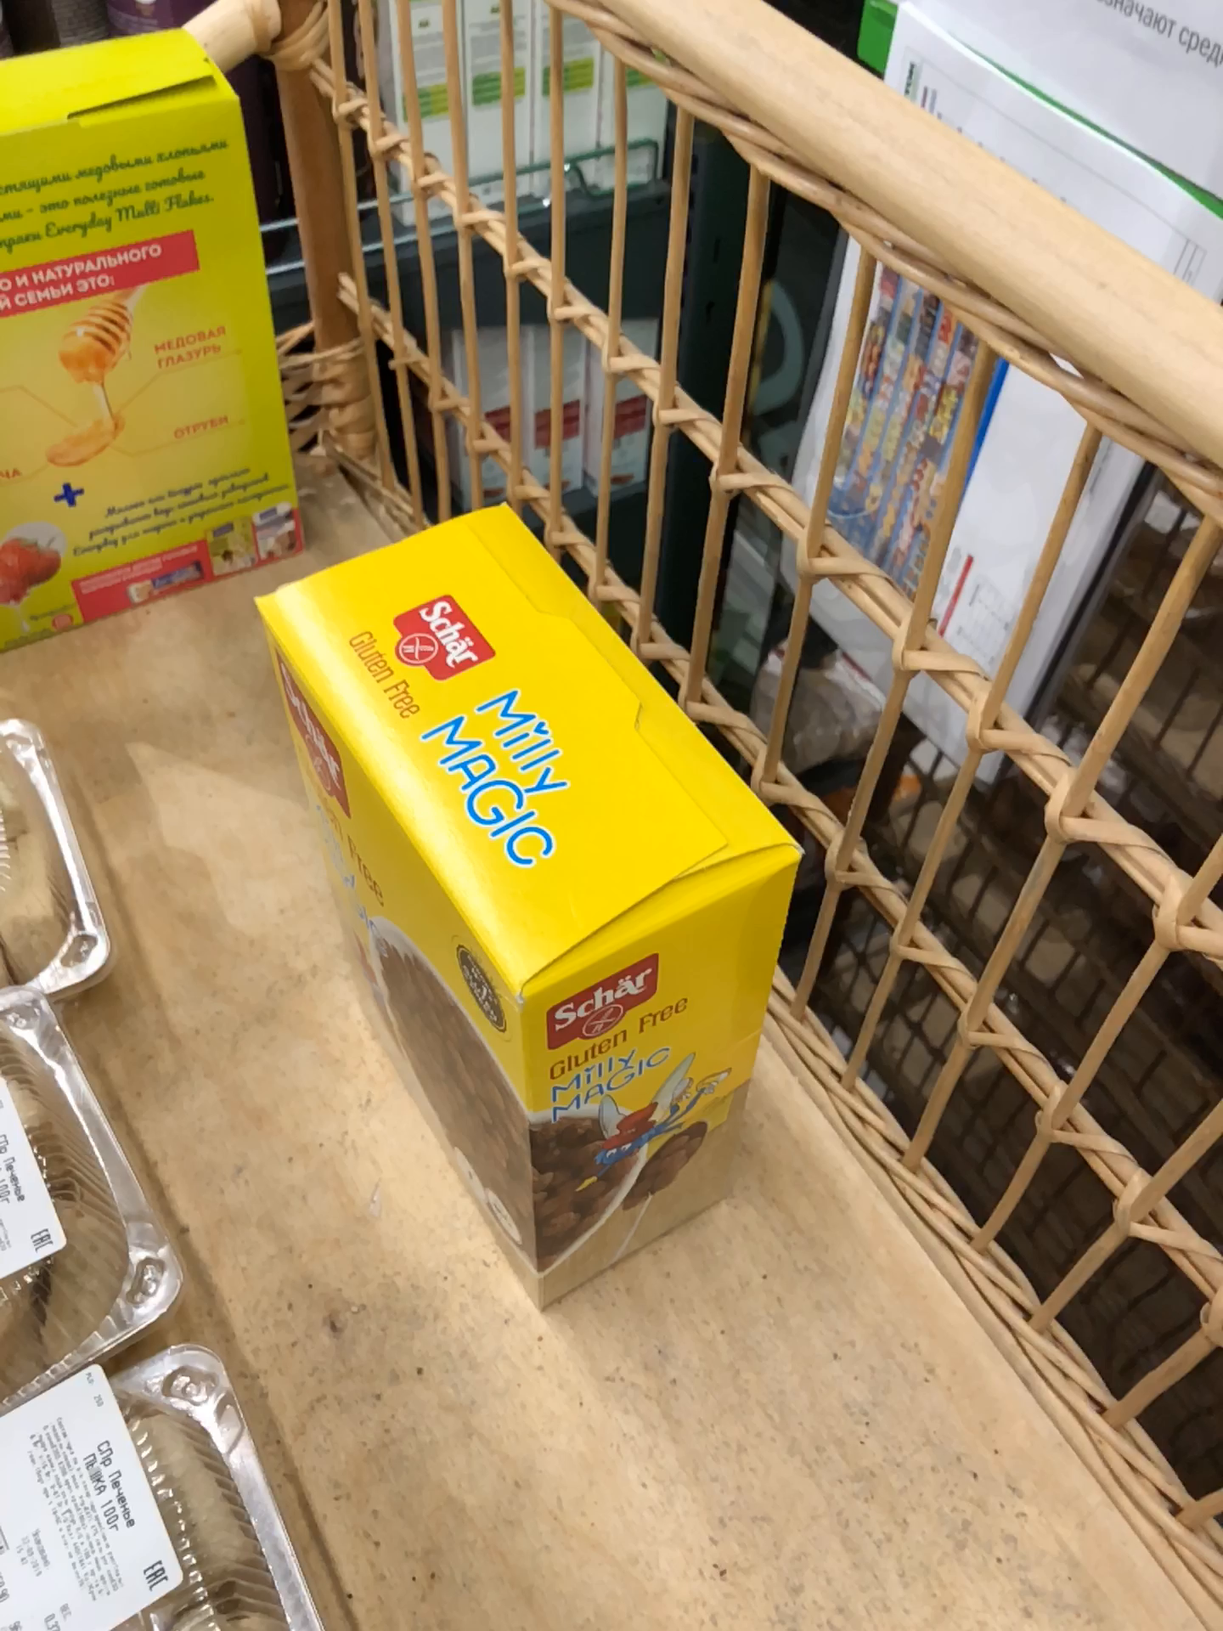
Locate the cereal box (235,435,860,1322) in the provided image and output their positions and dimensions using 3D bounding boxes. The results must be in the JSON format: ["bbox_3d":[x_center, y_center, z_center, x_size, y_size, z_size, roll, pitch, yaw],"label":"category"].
[{"bbox_3d":[-0.023,0.029,0.405,0.080,0.209,0.161,-25,57,-19],"label":"cereal box"}]
